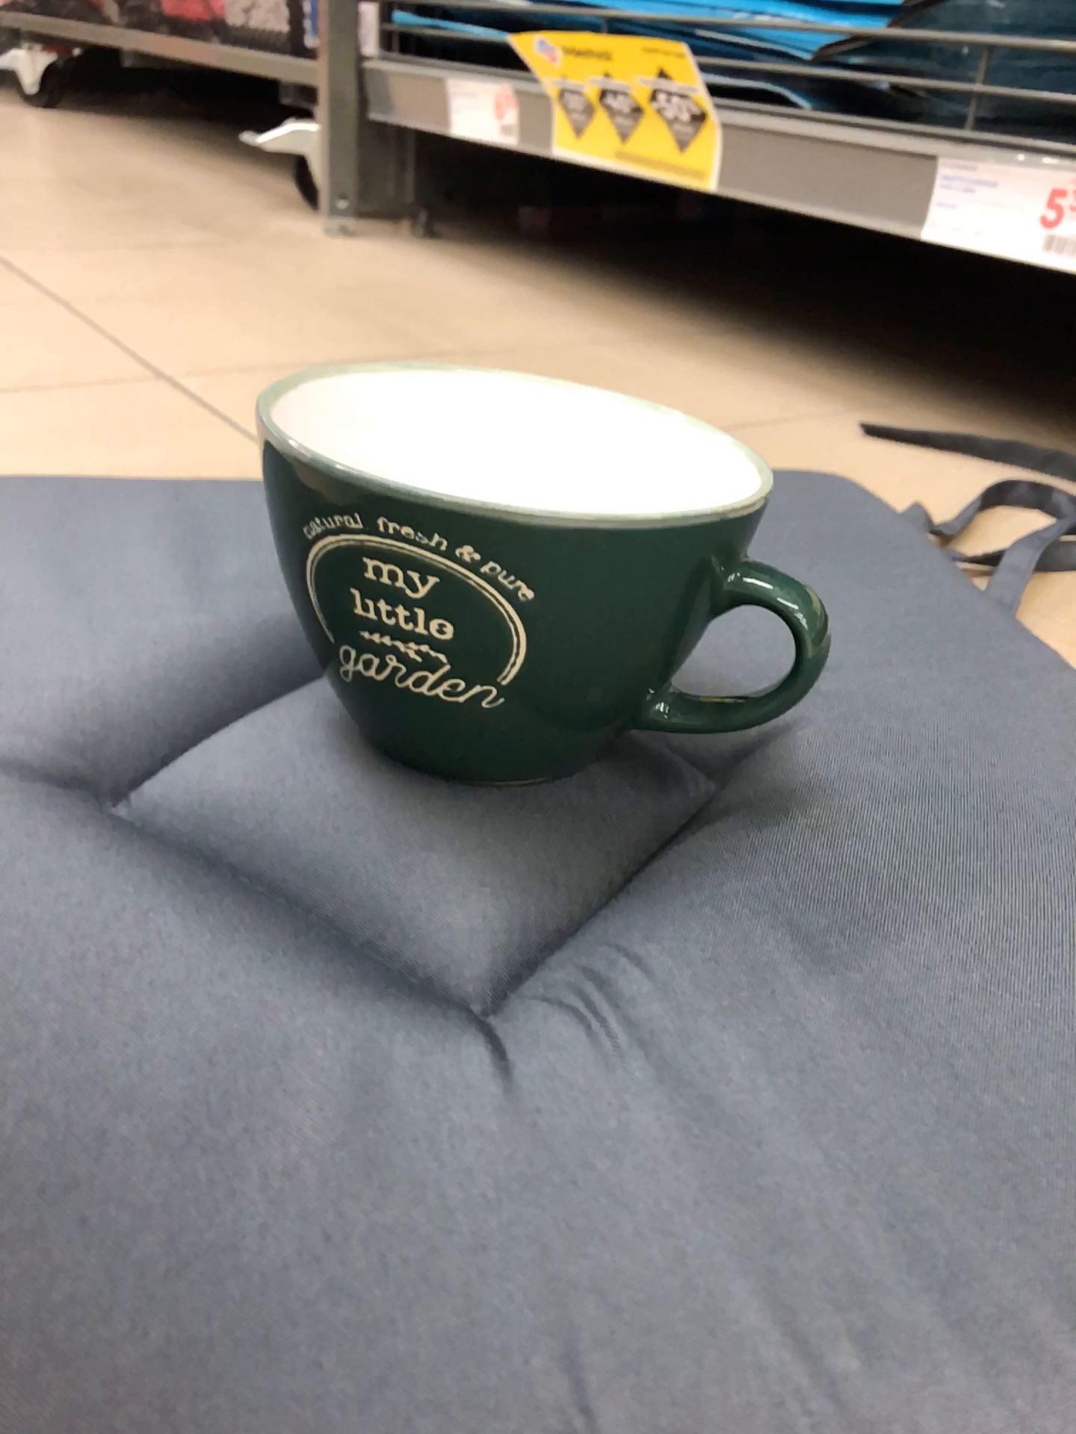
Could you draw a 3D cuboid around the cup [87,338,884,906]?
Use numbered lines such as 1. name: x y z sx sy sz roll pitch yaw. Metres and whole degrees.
1. cup: -0.005 -0.035 0.271 0.130 0.060 0.121 4 29 -2
